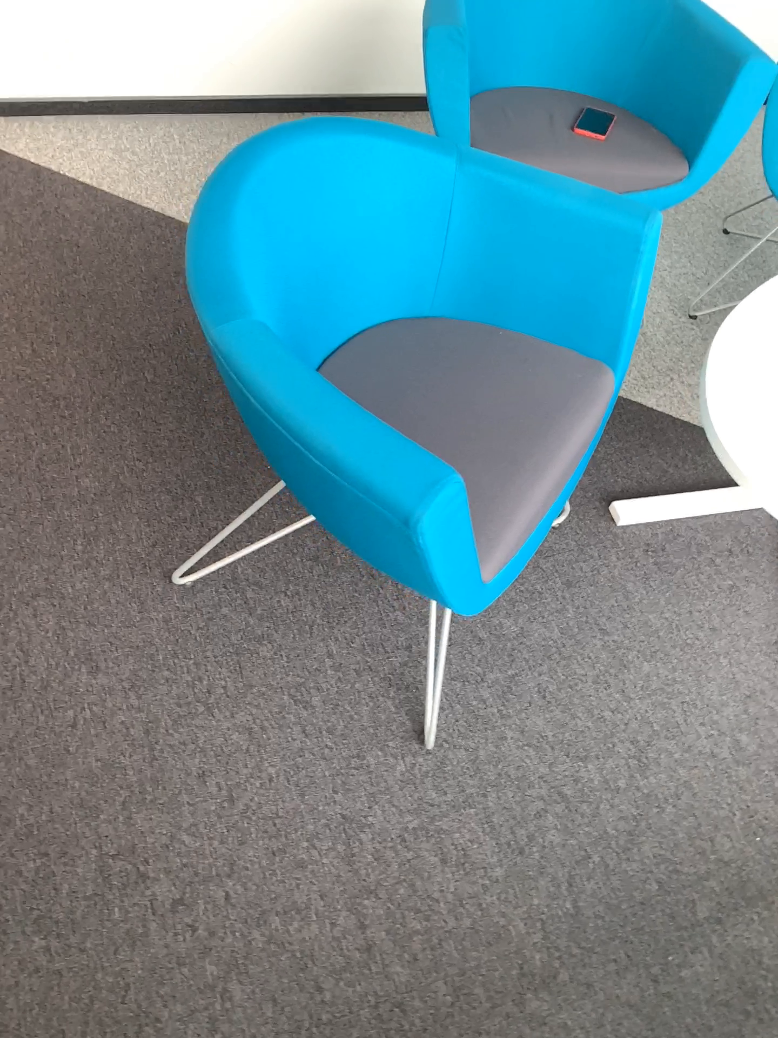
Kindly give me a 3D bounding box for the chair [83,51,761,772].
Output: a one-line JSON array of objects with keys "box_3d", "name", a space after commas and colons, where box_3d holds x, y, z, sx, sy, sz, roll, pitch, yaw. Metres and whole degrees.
[{"box_3d": [0.048, -0.176, 1.344, 0.640, 0.757, 0.713, 30, 53, 13], "name": "chair"}]
